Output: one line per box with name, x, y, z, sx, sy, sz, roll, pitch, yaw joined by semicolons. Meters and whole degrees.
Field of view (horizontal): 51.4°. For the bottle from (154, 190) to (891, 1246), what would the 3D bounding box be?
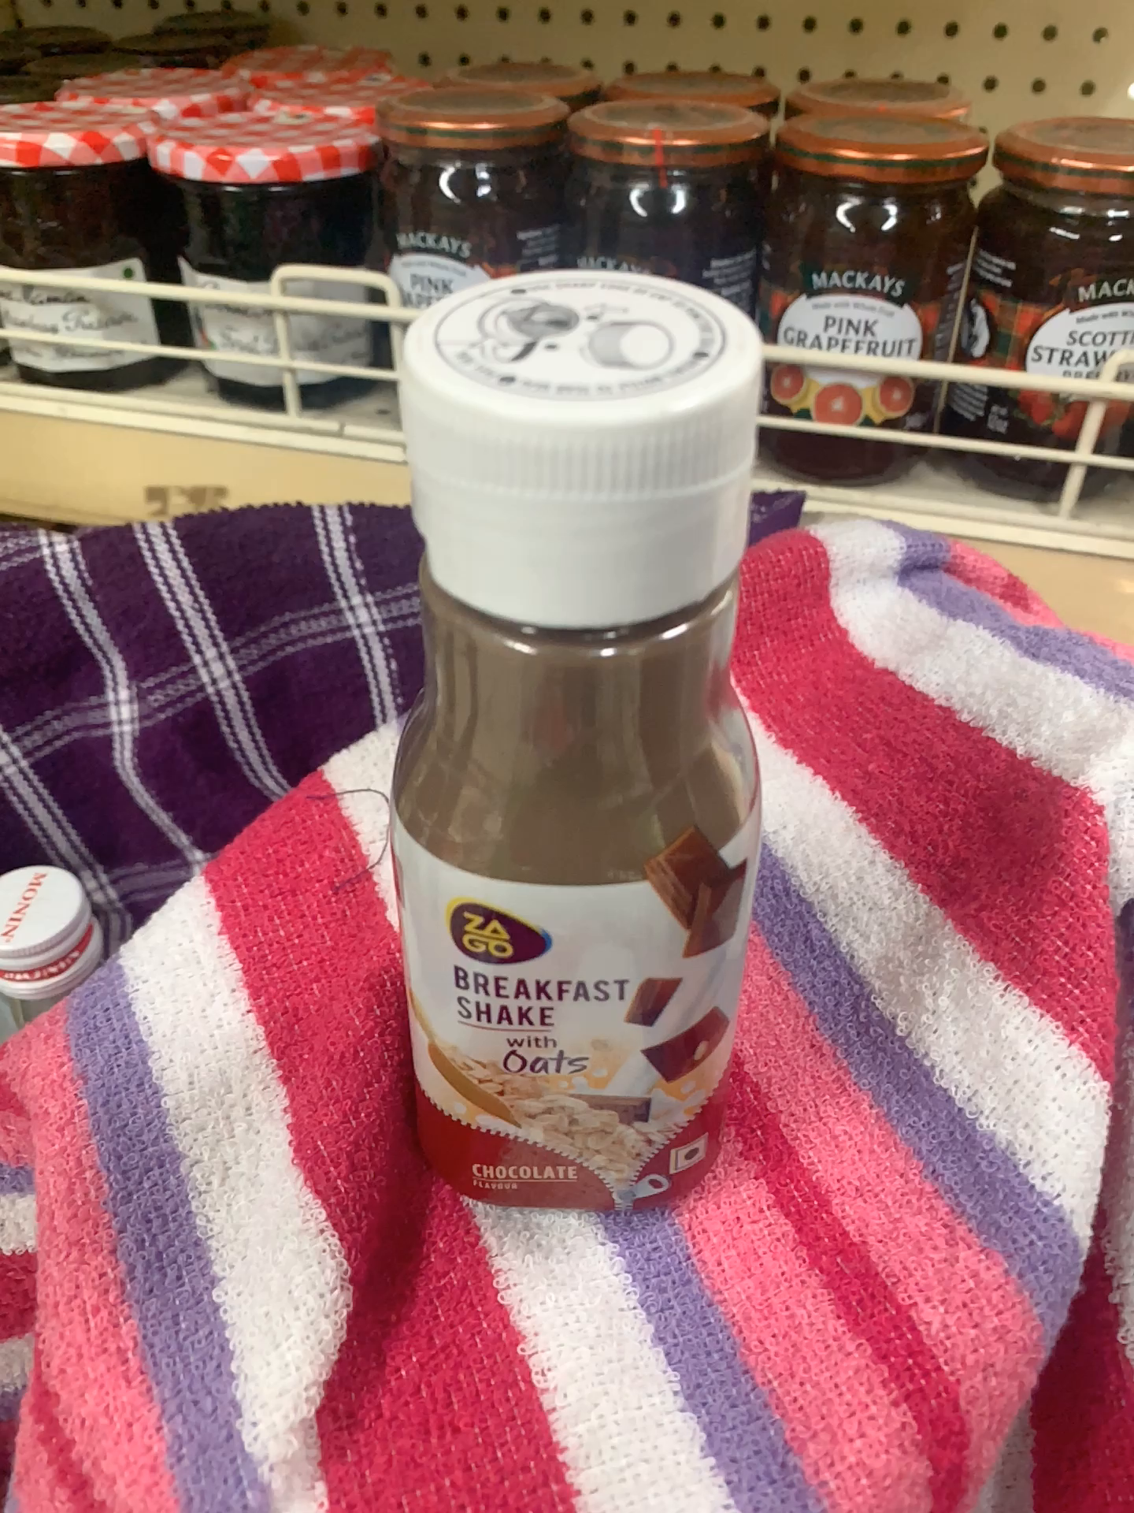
bottle;-0.003;0.005;0.159;0.060;0.139;0.050;1;39;2
